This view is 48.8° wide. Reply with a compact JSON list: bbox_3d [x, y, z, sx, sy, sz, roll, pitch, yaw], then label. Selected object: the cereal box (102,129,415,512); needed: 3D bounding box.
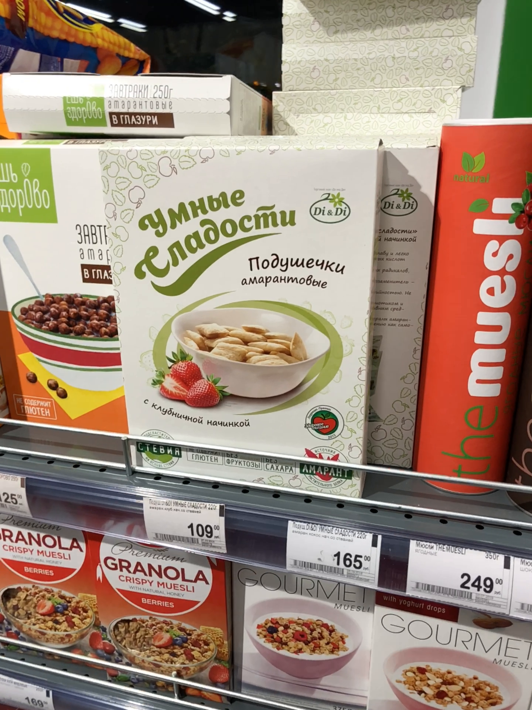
[{"bbox_3d":[-0.004,-0.025,0.430,0.200,0.259,0.050,5,21,16],"label":"cereal box"}]
